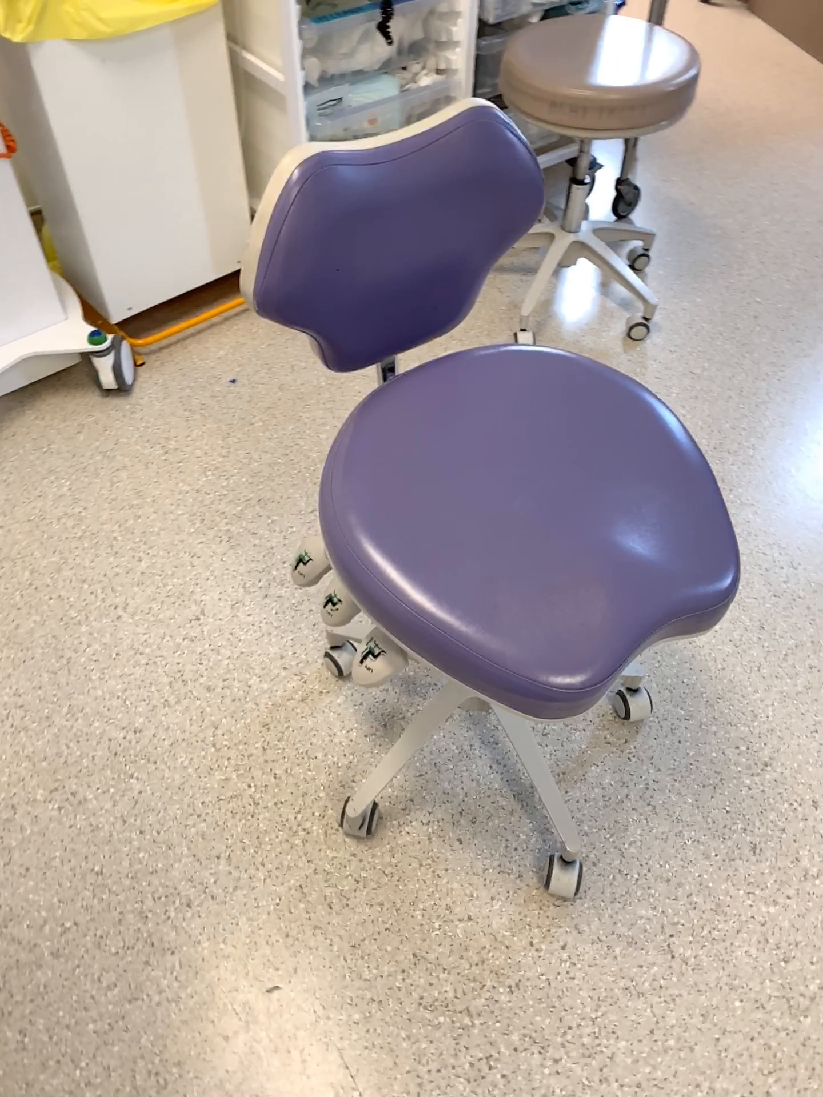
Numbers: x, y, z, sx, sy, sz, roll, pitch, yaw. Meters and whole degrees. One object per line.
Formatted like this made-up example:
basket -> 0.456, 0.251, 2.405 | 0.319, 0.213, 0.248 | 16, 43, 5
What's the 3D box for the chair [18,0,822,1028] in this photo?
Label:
chair -> 0.107, -0.027, 0.958 | 0.602, 0.823, 0.654 | -29, 57, -21
